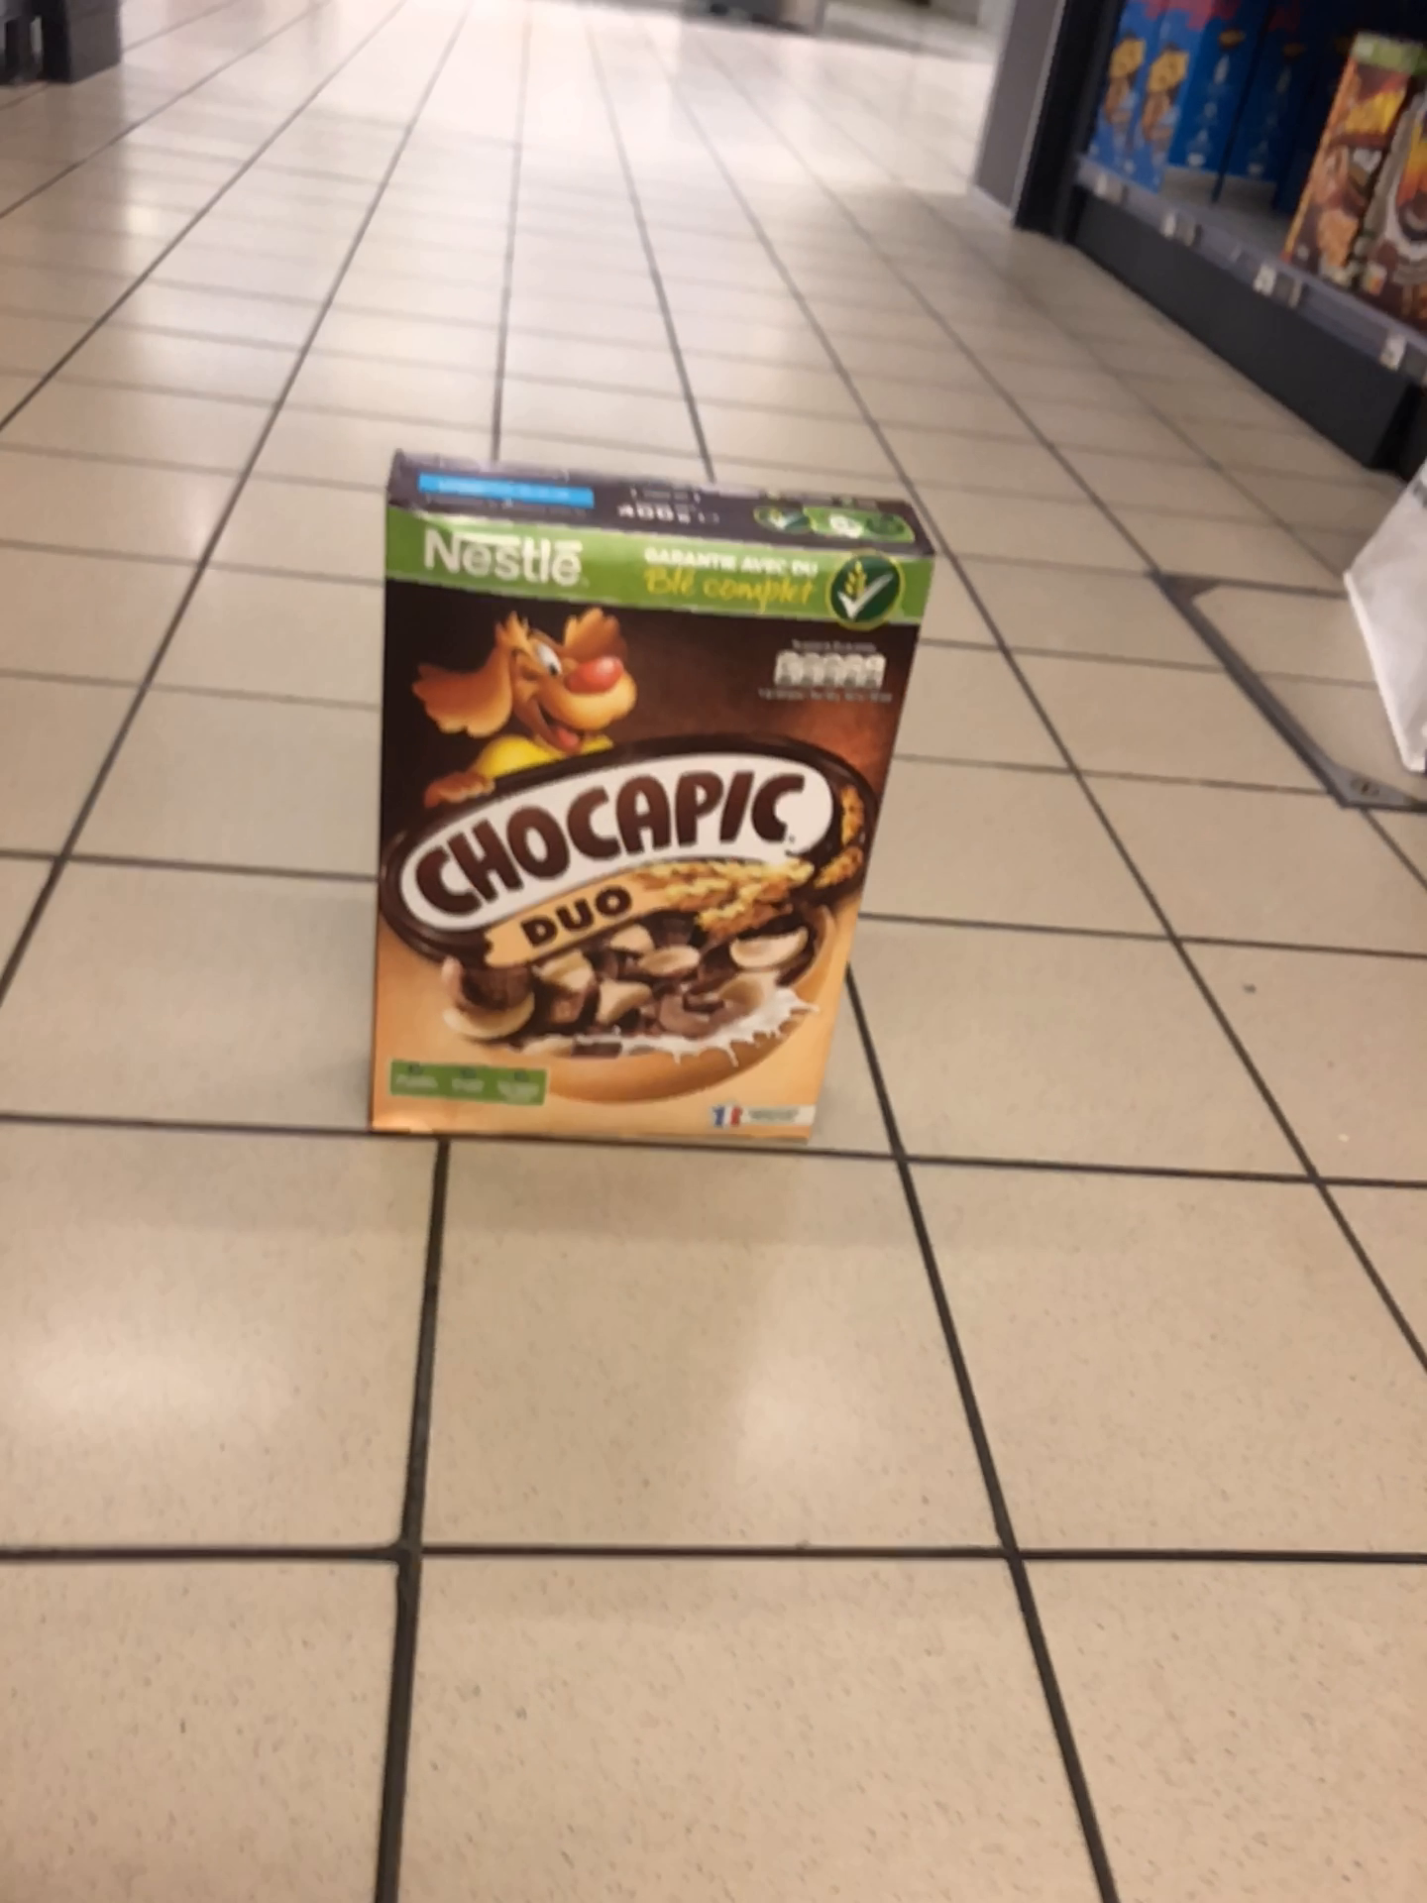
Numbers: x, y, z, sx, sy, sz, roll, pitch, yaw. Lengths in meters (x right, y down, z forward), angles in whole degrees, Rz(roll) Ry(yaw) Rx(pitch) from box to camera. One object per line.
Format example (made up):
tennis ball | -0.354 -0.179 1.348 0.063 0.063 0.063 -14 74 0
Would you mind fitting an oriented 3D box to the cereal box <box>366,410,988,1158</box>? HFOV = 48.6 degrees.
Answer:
cereal box | -0.027 -0.051 0.621 0.200 0.278 0.060 4 31 -10
